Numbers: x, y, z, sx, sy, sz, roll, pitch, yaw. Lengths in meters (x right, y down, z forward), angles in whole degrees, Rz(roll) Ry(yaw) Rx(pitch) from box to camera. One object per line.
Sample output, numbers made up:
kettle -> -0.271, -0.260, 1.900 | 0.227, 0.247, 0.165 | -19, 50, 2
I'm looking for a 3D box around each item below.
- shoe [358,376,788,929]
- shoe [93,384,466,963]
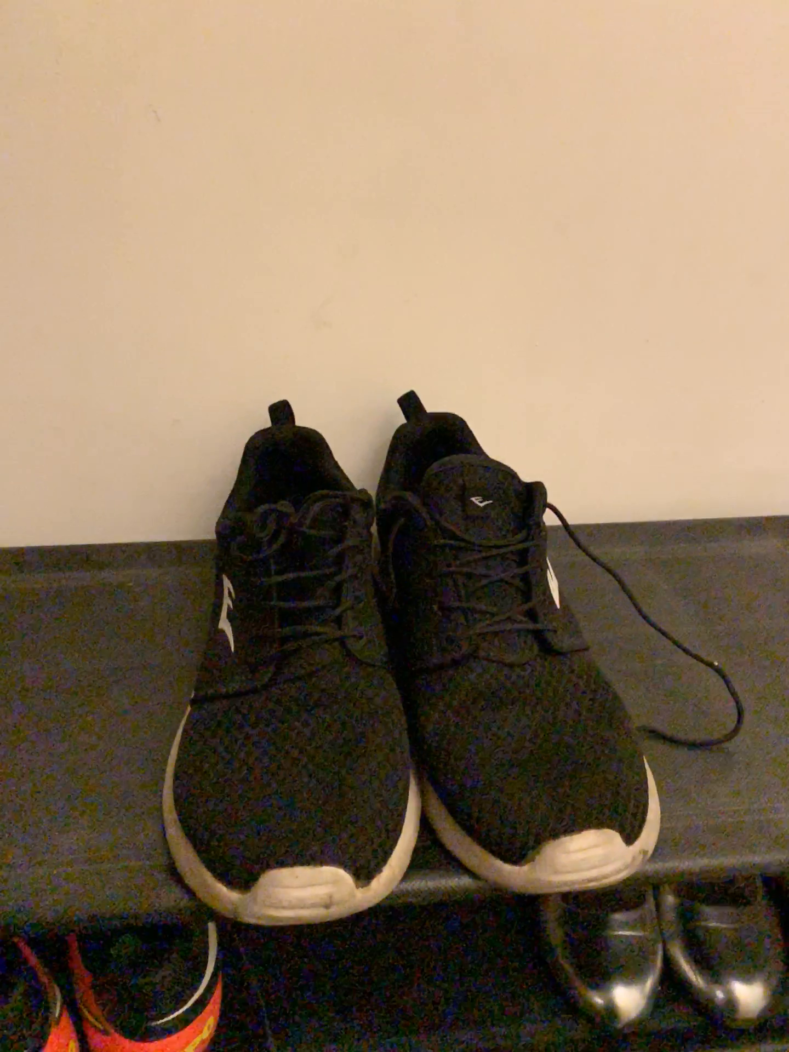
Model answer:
shoe -> 0.055, 0.026, 0.411 | 0.120, 0.099, 0.303 | -3, 30, -7
shoe -> -0.048, 0.033, 0.397 | 0.110, 0.099, 0.303 | -2, 30, -5
